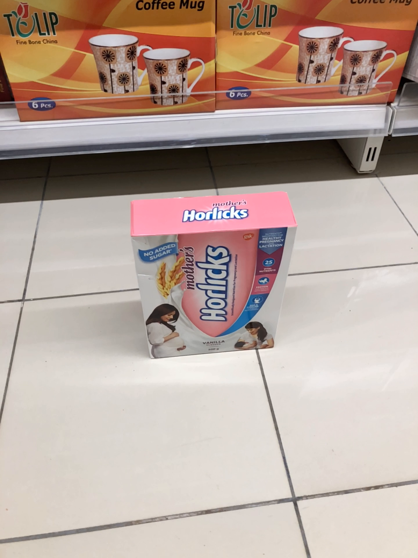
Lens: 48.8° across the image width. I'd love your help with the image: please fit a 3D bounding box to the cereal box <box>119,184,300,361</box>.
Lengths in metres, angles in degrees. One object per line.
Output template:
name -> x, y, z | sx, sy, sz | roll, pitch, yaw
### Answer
cereal box -> -0.001, 0.001, 0.495 | 0.160, 0.189, 0.060 | -4, 45, -4
